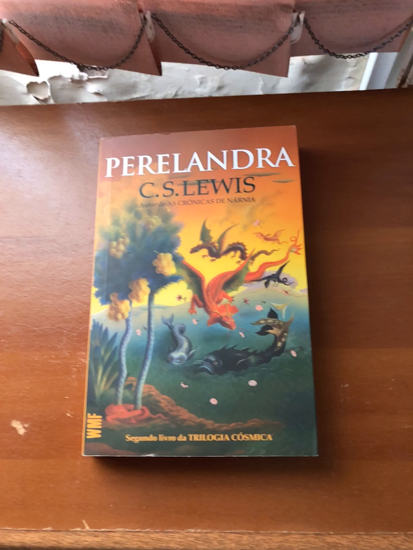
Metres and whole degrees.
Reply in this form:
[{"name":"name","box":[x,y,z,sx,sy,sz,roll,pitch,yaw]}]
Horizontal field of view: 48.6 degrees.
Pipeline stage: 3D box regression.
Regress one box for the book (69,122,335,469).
[{"name":"book","box":[-0.004,0.007,0.264,0.130,0.030,0.190,-2,73,5]}]
